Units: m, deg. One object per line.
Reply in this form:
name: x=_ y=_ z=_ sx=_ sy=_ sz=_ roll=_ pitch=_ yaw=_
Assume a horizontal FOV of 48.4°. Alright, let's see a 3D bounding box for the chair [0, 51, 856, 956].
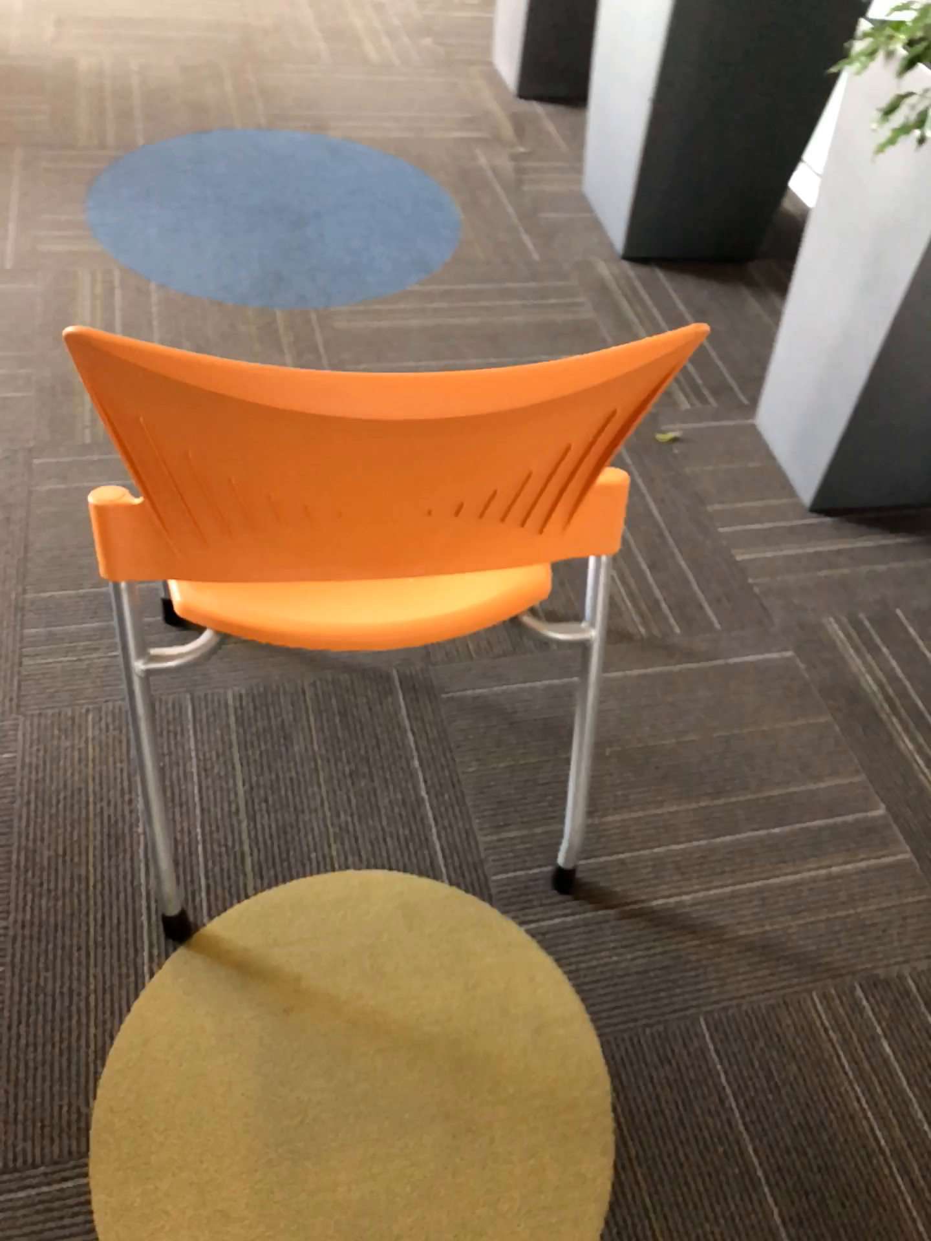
chair: x=-0.120 y=-0.119 z=1.180 sx=0.640 sy=0.747 sz=0.613 roll=-4 pitch=48 yaw=-13
